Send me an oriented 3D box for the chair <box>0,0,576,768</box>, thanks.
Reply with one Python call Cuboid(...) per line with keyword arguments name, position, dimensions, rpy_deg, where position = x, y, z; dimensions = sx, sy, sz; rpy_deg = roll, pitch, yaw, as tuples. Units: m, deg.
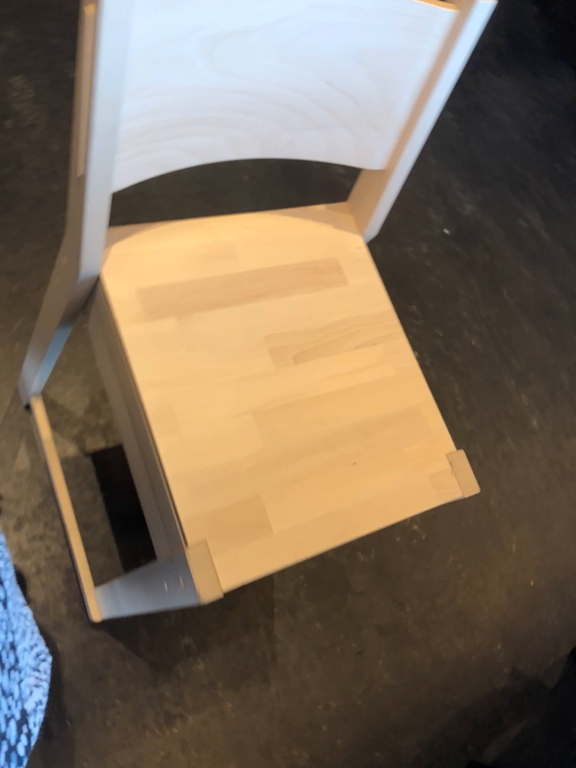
Cuboid(name="chair", position=(-0.061, 0.076, 0.817), dimensions=(0.461, 0.978, 0.540), rpy_deg=(-14, 76, -26))
